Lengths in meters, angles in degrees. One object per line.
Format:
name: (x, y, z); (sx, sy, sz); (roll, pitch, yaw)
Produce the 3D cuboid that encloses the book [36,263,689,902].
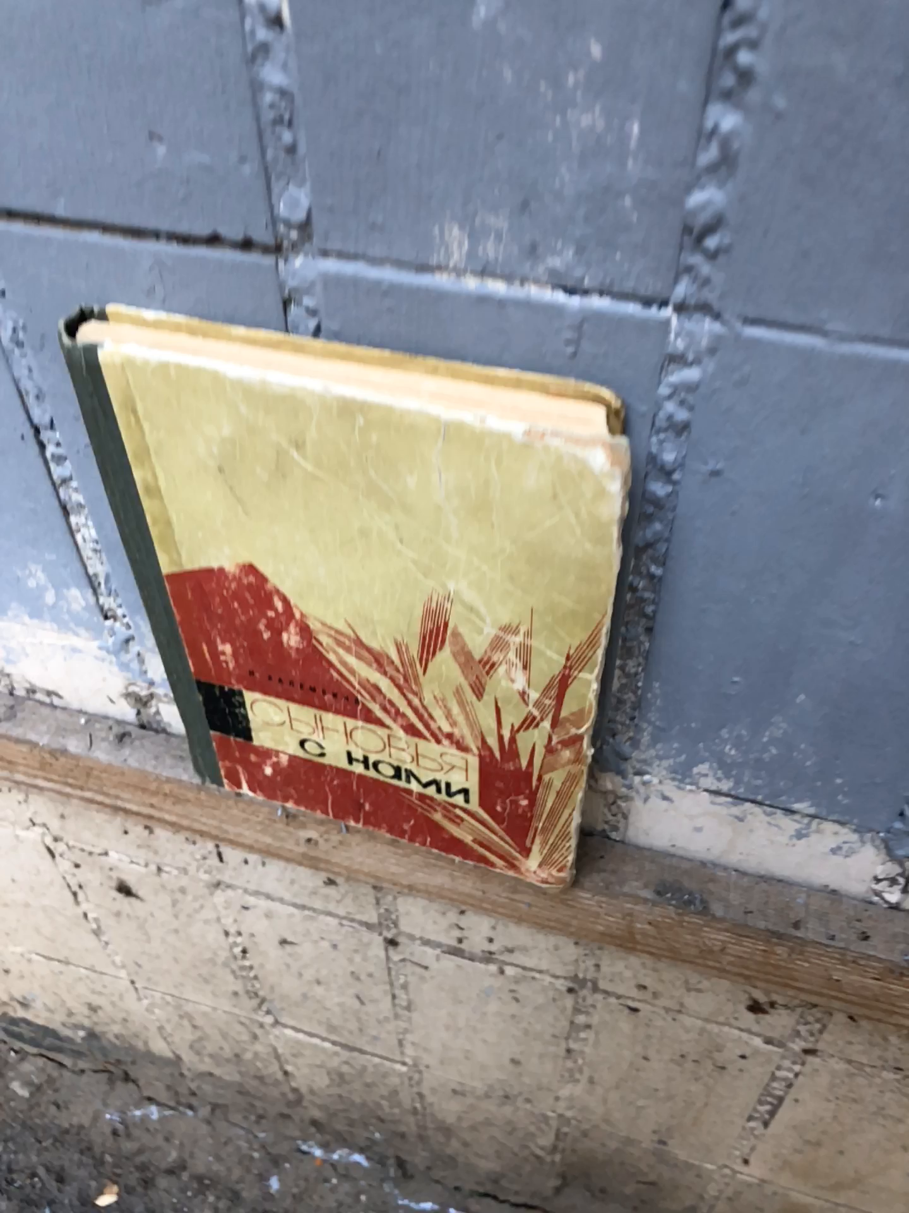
book: (-0.022, 0.002, 0.274); (0.140, 0.162, 0.032); (13, 43, 14)
